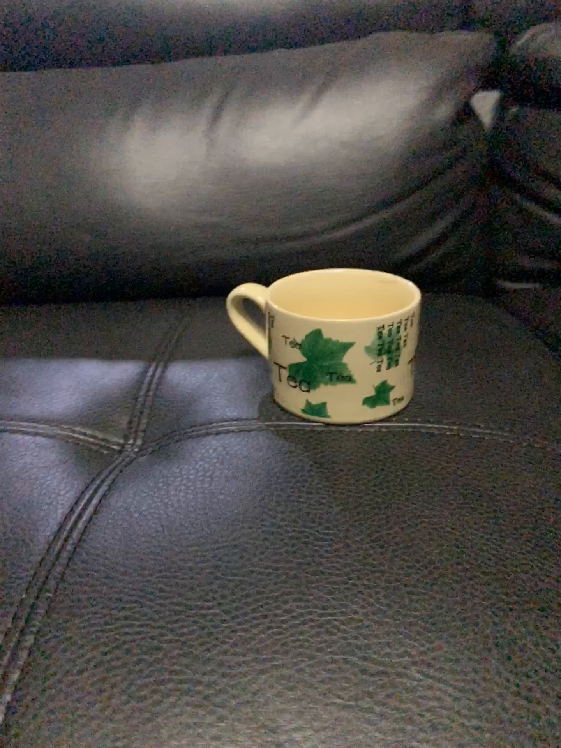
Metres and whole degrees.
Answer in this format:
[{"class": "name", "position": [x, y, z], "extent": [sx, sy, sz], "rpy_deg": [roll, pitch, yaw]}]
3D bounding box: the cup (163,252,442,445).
[{"class": "cup", "position": [0.016, -0.022, 0.317], "extent": [0.118, 0.060, 0.091], "rpy_deg": [9, 29, 26]}]
